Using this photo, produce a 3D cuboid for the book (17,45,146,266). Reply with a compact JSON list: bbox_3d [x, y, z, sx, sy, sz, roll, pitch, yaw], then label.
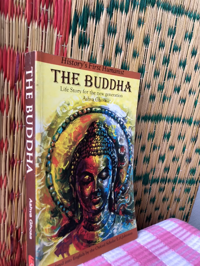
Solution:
[{"bbox_3d":[-0.011,0.029,0.243,0.146,0.207,0.030,-1,2,-39],"label":"book"}]
